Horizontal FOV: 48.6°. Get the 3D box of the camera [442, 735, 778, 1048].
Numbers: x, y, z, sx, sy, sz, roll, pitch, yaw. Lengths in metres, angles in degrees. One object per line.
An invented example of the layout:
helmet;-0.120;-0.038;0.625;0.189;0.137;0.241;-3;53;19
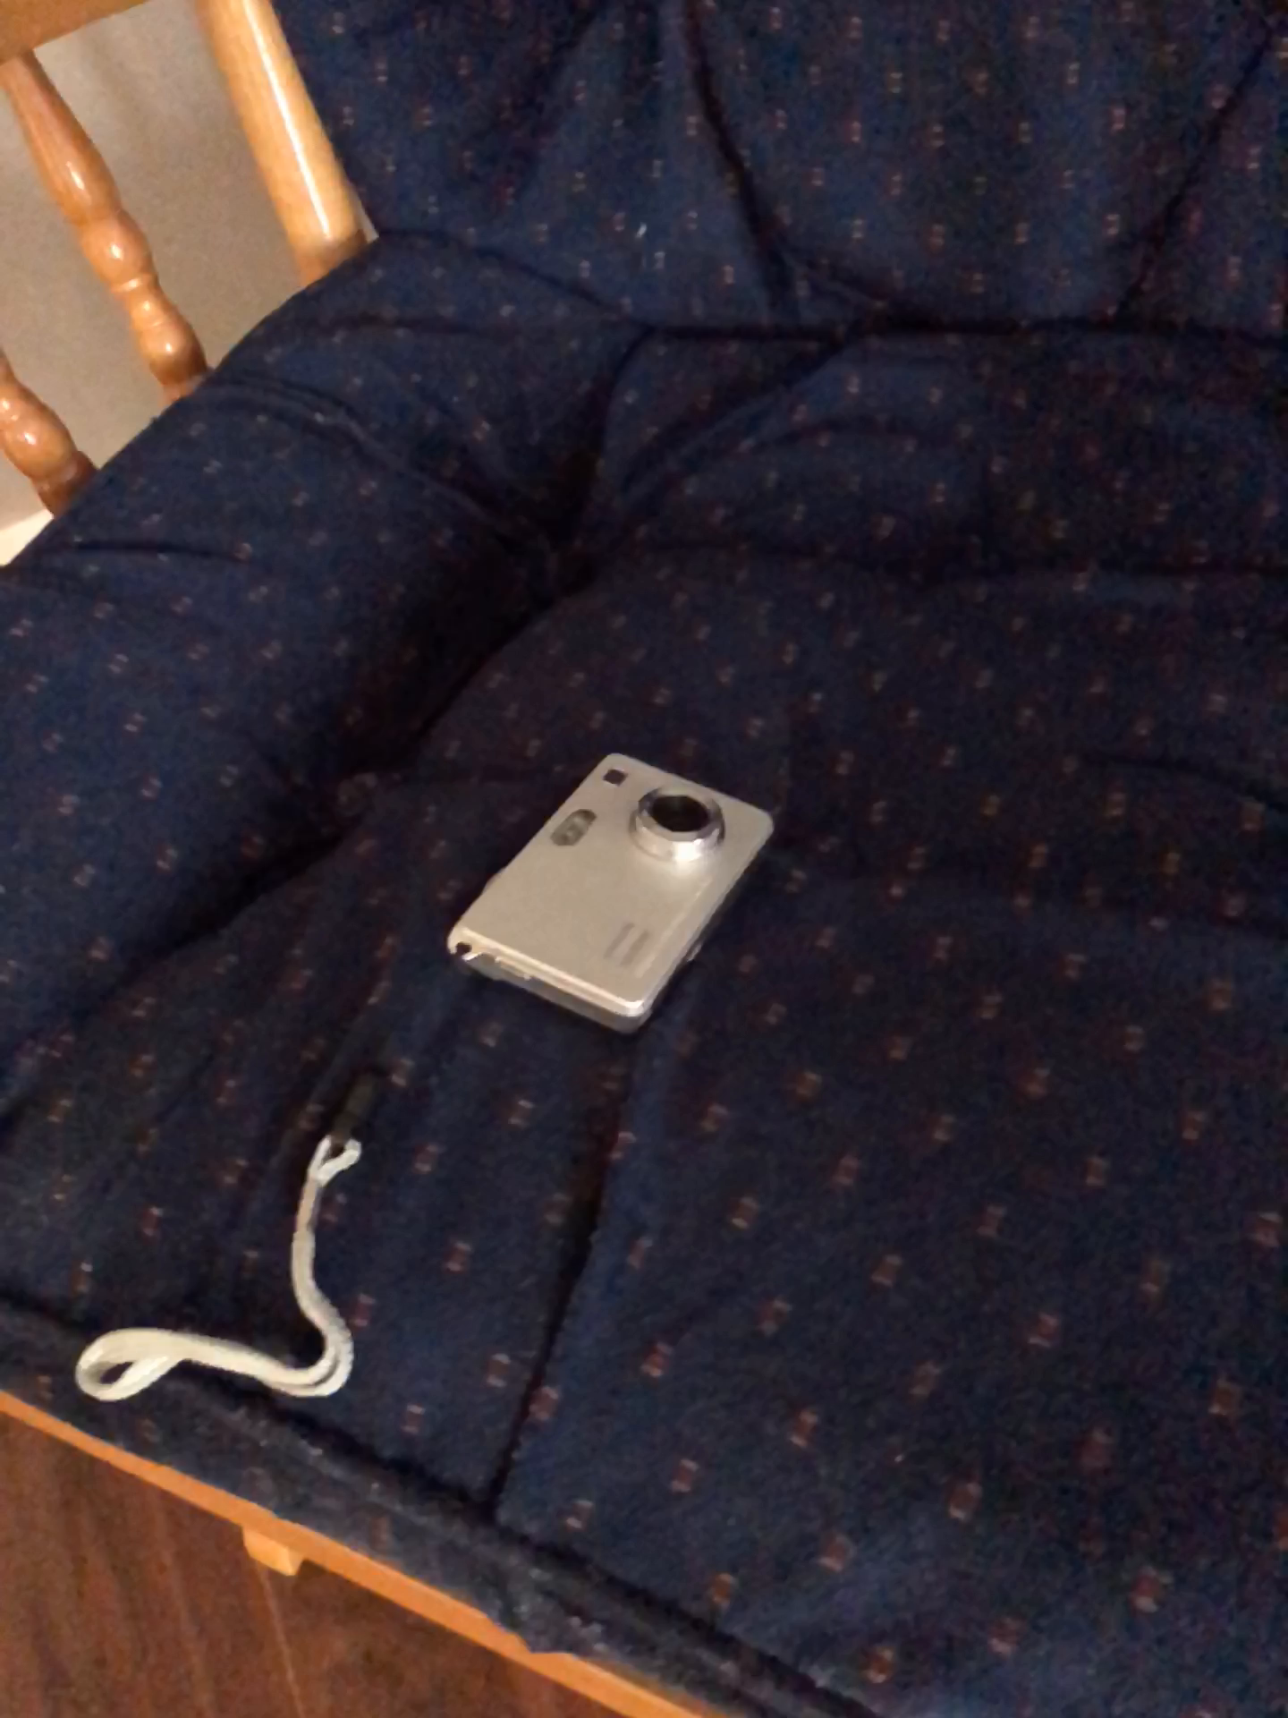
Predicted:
camera;-0.007;0.006;0.394;0.058;0.018;0.085;22;48;18
